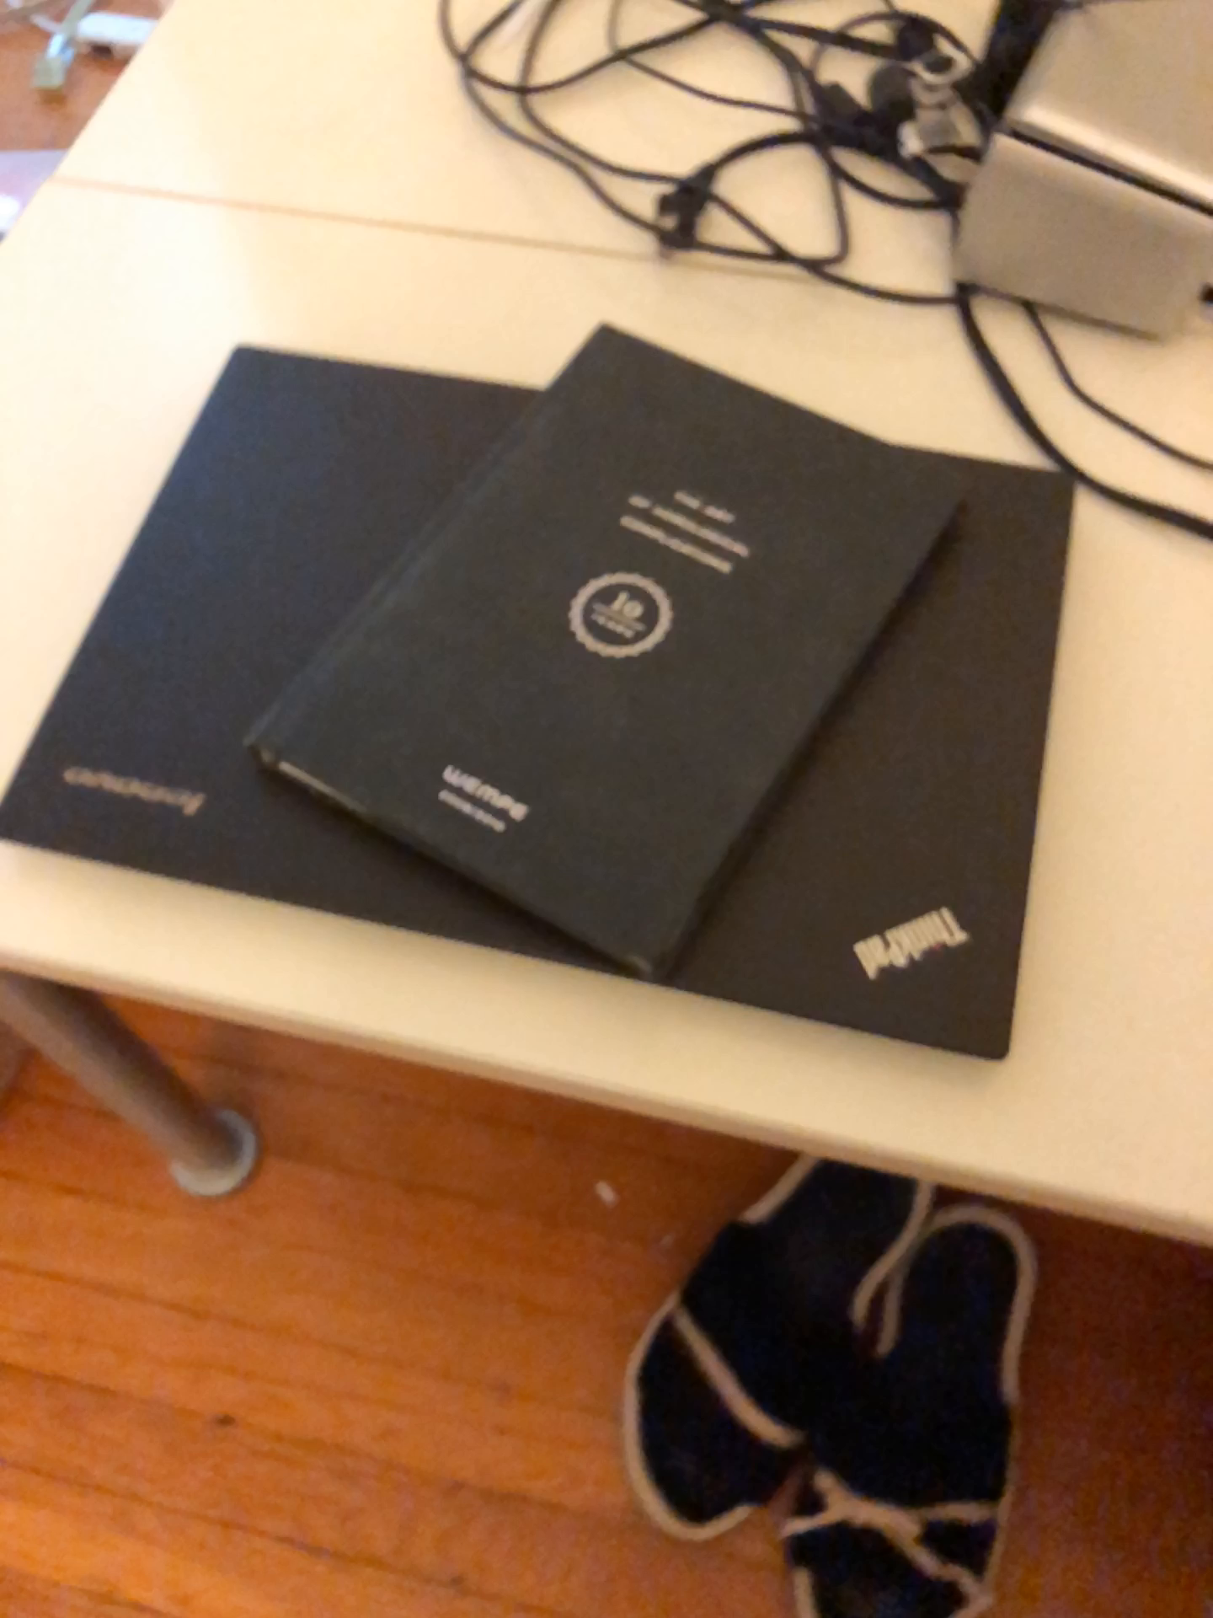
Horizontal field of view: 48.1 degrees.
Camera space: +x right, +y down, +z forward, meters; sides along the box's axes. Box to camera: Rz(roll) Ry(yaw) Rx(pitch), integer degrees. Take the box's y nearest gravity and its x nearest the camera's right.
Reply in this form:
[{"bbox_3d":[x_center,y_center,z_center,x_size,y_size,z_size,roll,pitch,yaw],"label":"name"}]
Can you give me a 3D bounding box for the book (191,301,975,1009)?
[{"bbox_3d":[-0.001,-0.067,0.465,0.170,0.030,0.221,27,65,17],"label":"book"}]
